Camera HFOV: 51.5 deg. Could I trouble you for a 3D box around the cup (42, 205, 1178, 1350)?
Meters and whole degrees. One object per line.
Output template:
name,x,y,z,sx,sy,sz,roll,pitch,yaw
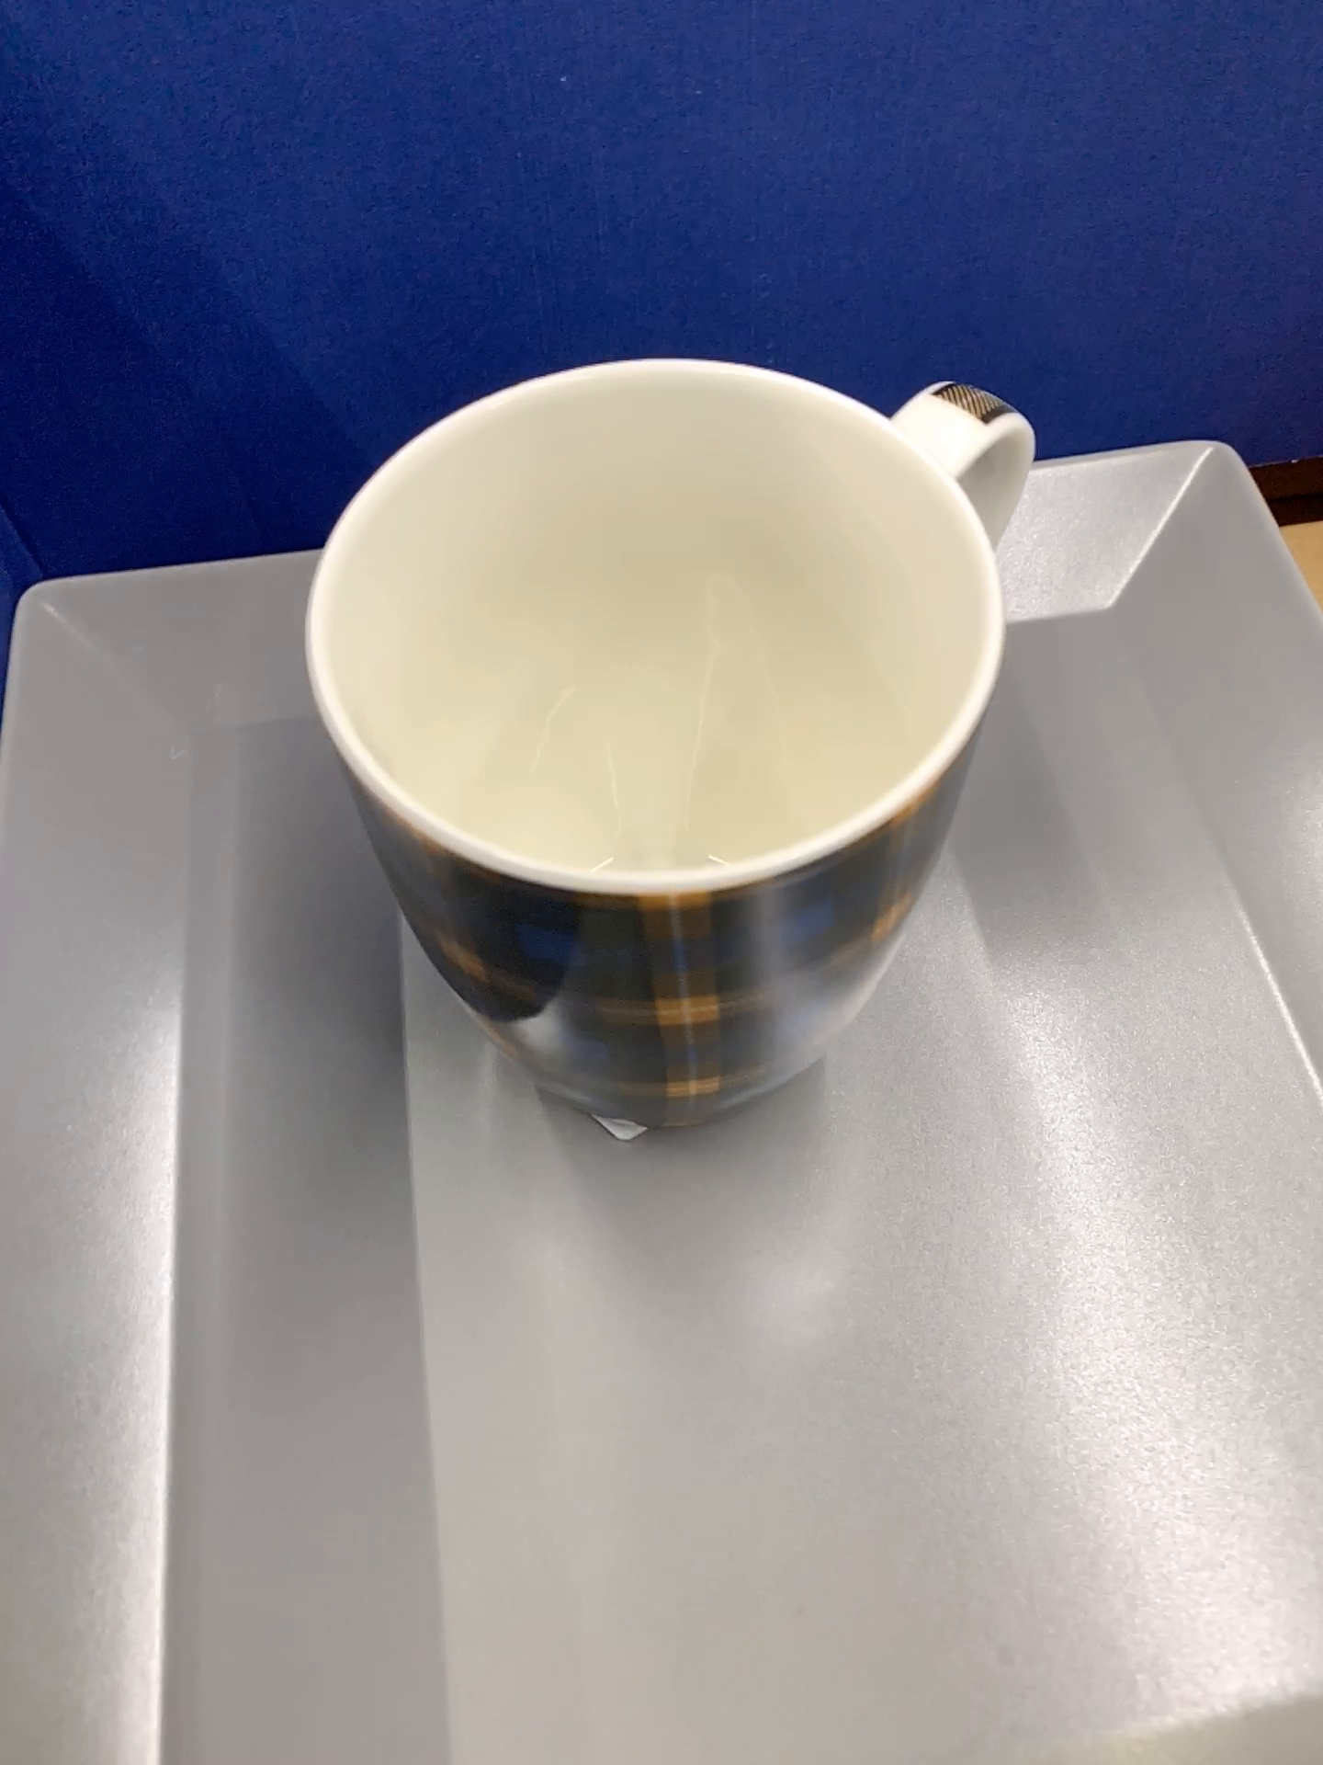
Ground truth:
cup,0.001,-0.018,0.210,0.095,0.089,0.122,24,61,18
